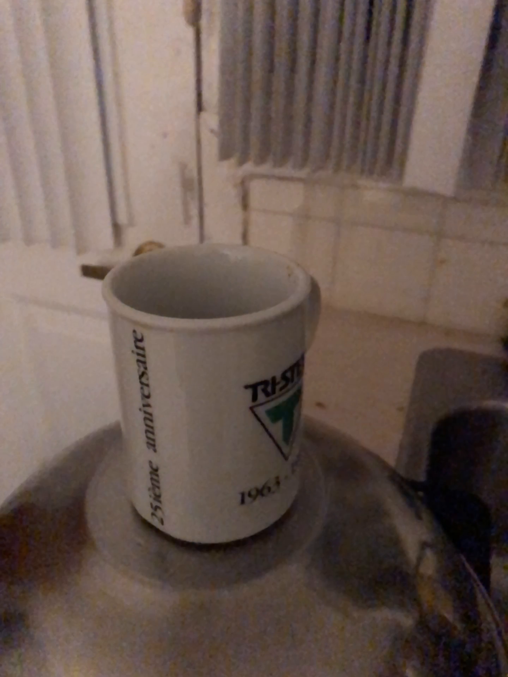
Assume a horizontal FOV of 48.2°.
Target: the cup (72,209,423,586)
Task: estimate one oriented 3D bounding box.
[{"bbox_3d":[0.001,0.014,0.239,0.117,0.099,0.070,-25,39,-38],"label":"cup"}]
